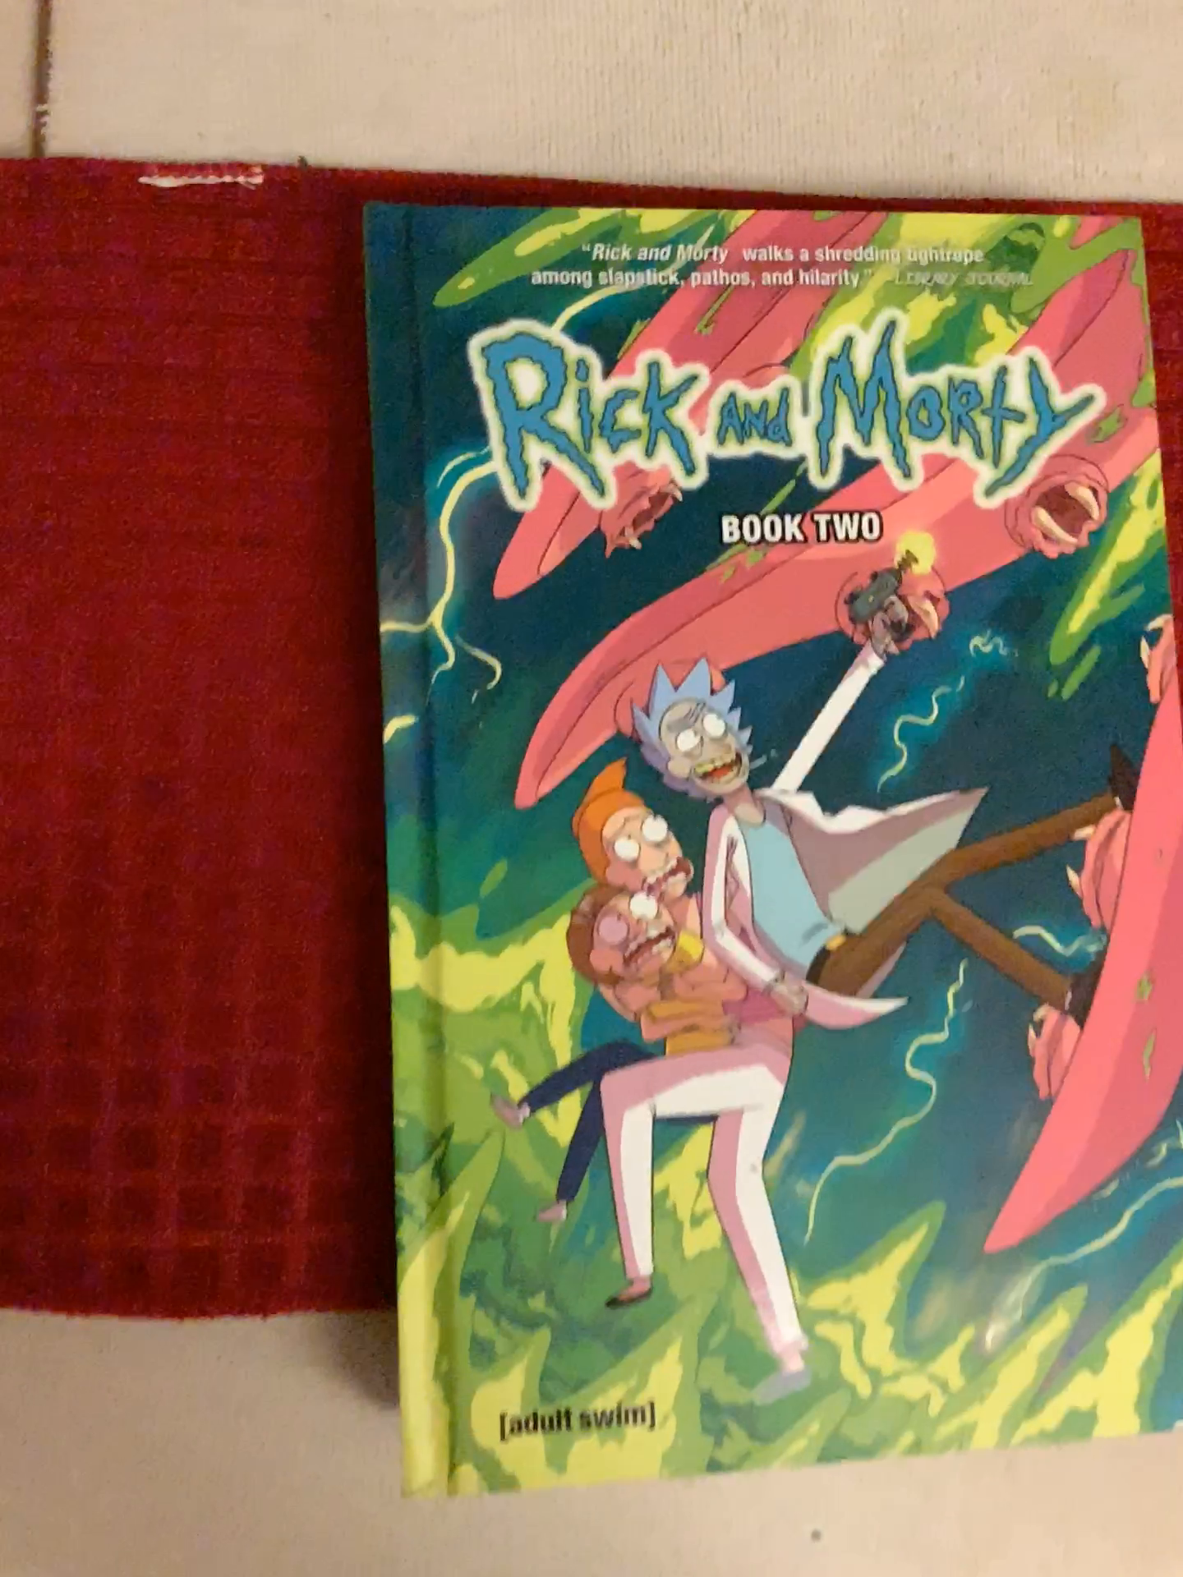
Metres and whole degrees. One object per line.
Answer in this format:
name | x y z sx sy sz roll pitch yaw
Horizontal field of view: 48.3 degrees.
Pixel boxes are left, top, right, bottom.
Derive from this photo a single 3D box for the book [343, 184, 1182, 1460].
book | 0.044 0.000 0.335 0.200 0.030 0.300 -2 85 -6
